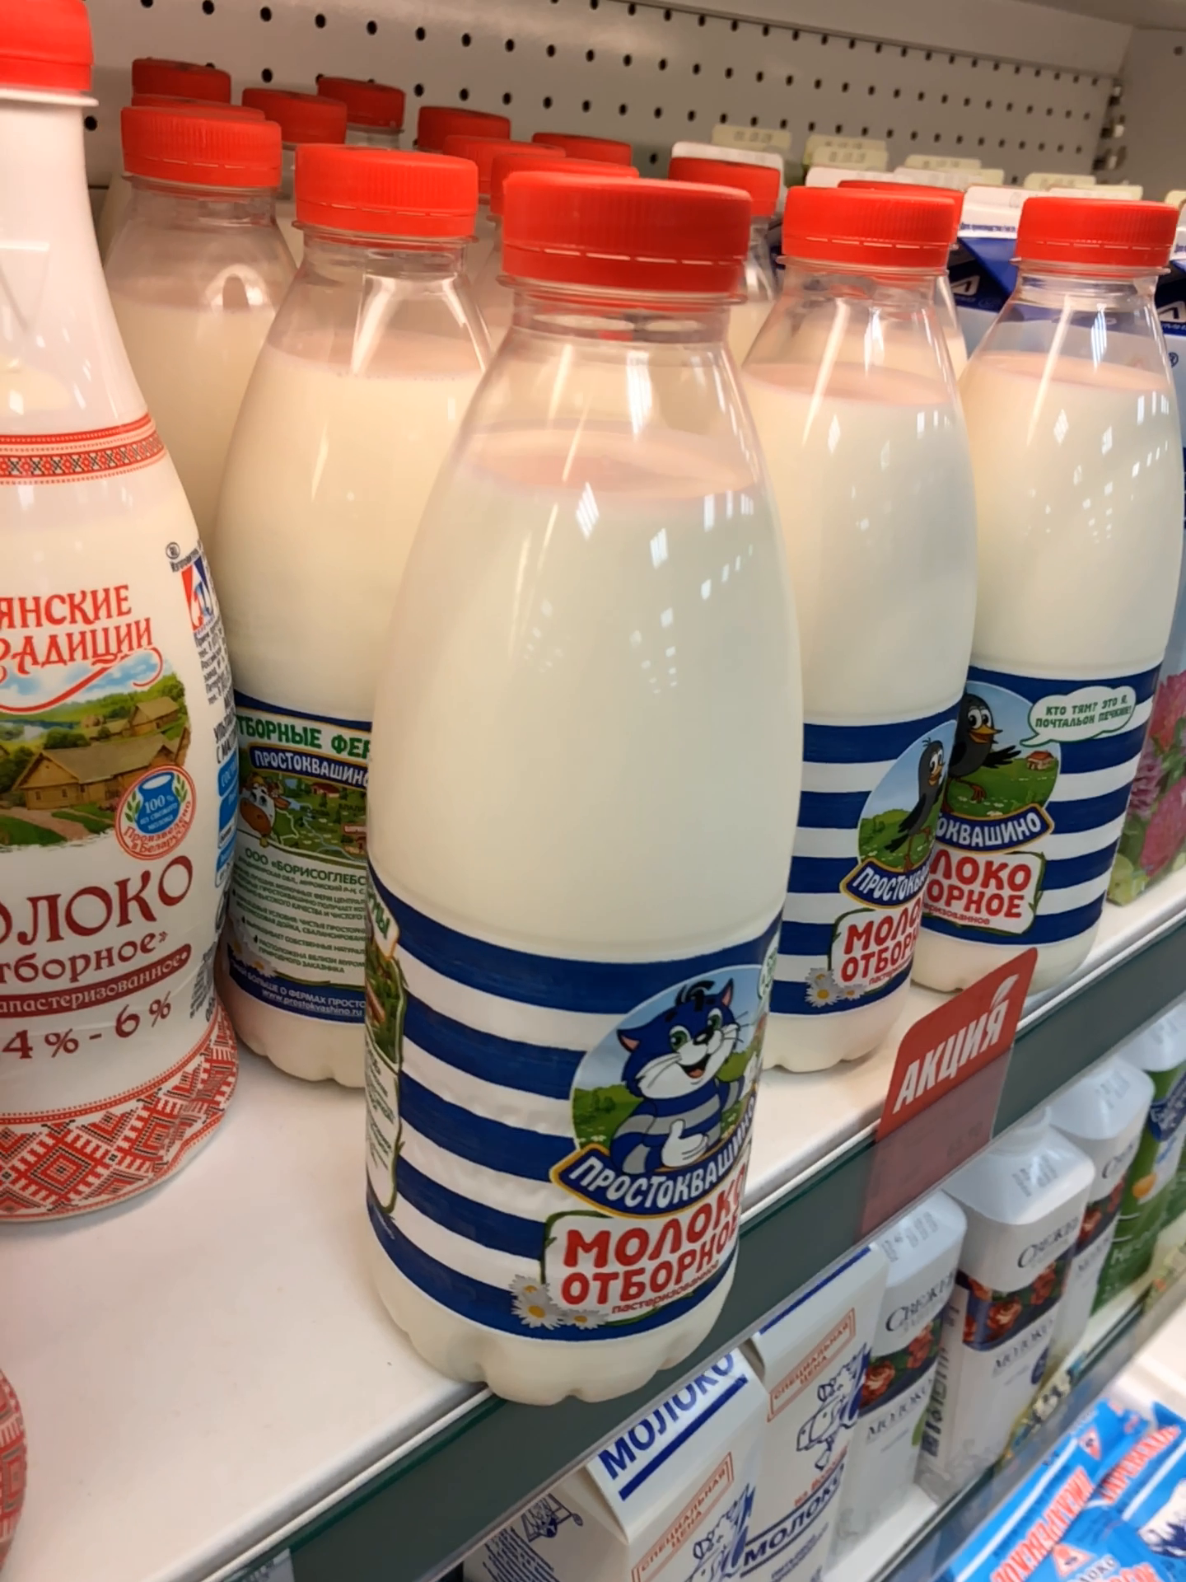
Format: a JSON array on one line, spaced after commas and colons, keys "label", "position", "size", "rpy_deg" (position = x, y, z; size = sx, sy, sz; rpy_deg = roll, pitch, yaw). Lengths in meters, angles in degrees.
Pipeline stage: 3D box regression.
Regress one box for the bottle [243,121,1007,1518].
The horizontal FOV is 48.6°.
[{"label": "bottle", "position": [-0.002, 0.005, 0.249], "size": [0.090, 0.228, 0.080], "rpy_deg": [-12, 27, -31]}]
